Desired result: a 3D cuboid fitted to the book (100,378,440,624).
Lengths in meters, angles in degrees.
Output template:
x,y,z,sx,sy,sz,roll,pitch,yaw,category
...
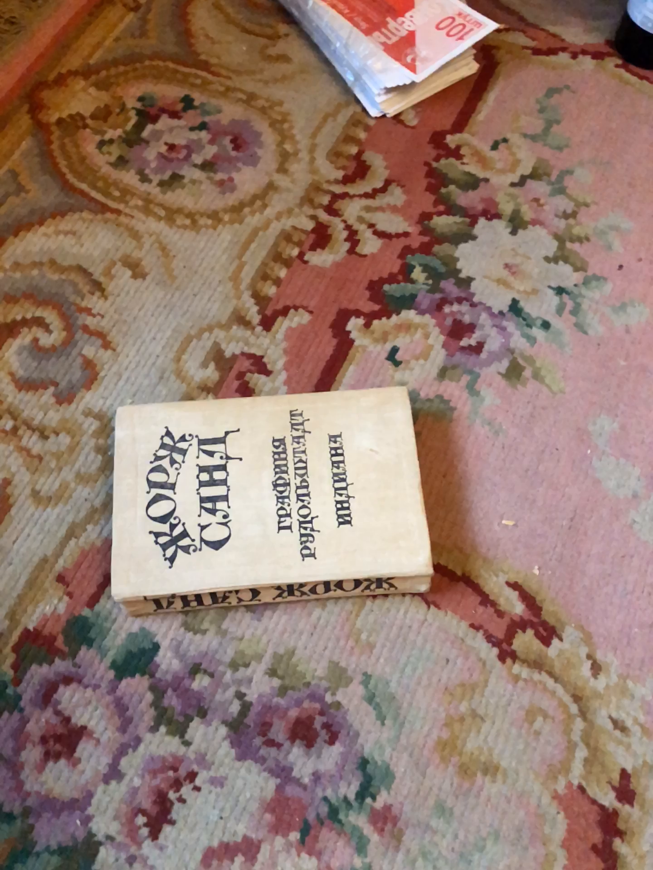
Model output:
x,y,z,sx,sy,sz,roll,pitch,yaw,category
-0.042,0.047,0.519,0.220,0.057,0.150,-4,67,-2,book
